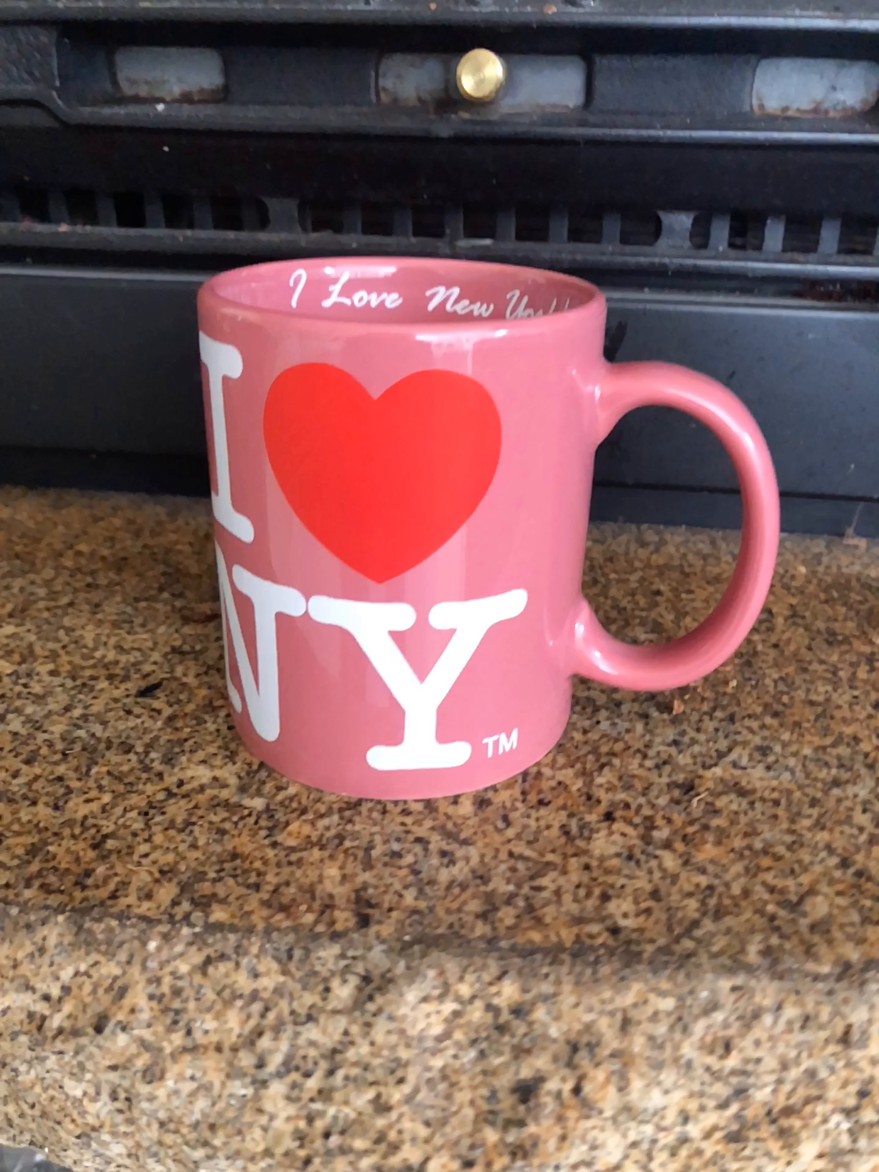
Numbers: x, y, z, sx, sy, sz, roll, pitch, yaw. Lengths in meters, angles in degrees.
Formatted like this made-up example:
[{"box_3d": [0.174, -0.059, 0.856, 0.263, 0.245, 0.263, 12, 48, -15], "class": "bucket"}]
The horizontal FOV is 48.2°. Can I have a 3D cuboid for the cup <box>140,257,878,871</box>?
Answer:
[{"box_3d": [0.015, -0.012, 0.215, 0.120, 0.099, 0.091, 3, 25, 4], "class": "cup"}]
